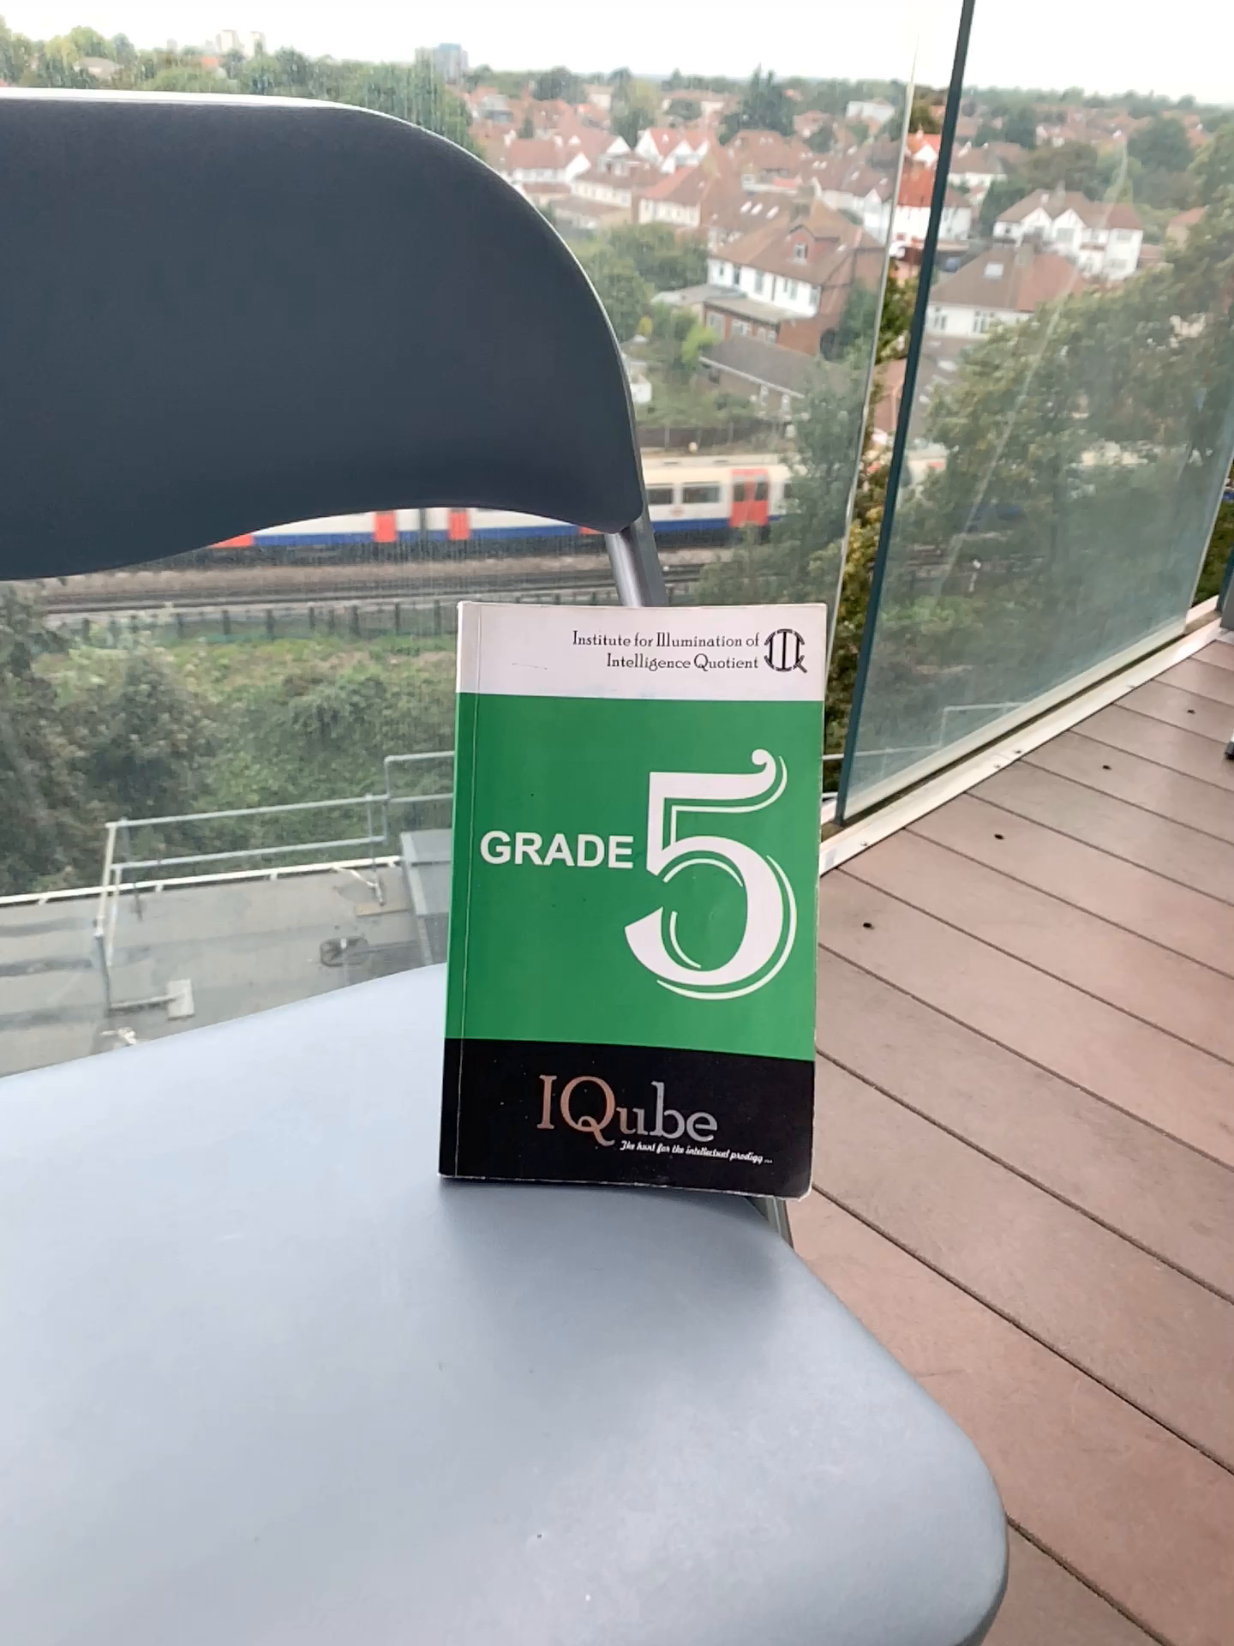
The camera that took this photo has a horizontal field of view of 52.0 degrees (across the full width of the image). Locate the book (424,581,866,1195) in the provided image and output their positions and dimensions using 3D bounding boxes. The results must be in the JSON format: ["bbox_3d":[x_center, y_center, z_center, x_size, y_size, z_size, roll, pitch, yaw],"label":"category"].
[{"bbox_3d":[0.011,0.021,0.462,0.150,0.210,0.040,1,-3,4],"label":"book"}]
